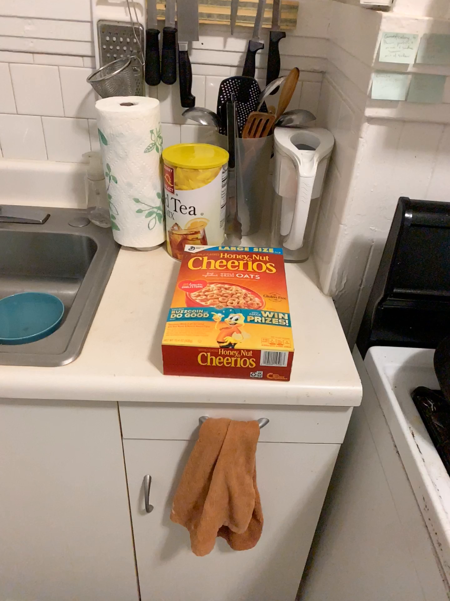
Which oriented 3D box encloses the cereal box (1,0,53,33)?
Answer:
[{"bbox_3d":[-3.304,-5.049,7.723,0.521,0.954,0.412,-27,45,-36],"label":"cereal box"}]
